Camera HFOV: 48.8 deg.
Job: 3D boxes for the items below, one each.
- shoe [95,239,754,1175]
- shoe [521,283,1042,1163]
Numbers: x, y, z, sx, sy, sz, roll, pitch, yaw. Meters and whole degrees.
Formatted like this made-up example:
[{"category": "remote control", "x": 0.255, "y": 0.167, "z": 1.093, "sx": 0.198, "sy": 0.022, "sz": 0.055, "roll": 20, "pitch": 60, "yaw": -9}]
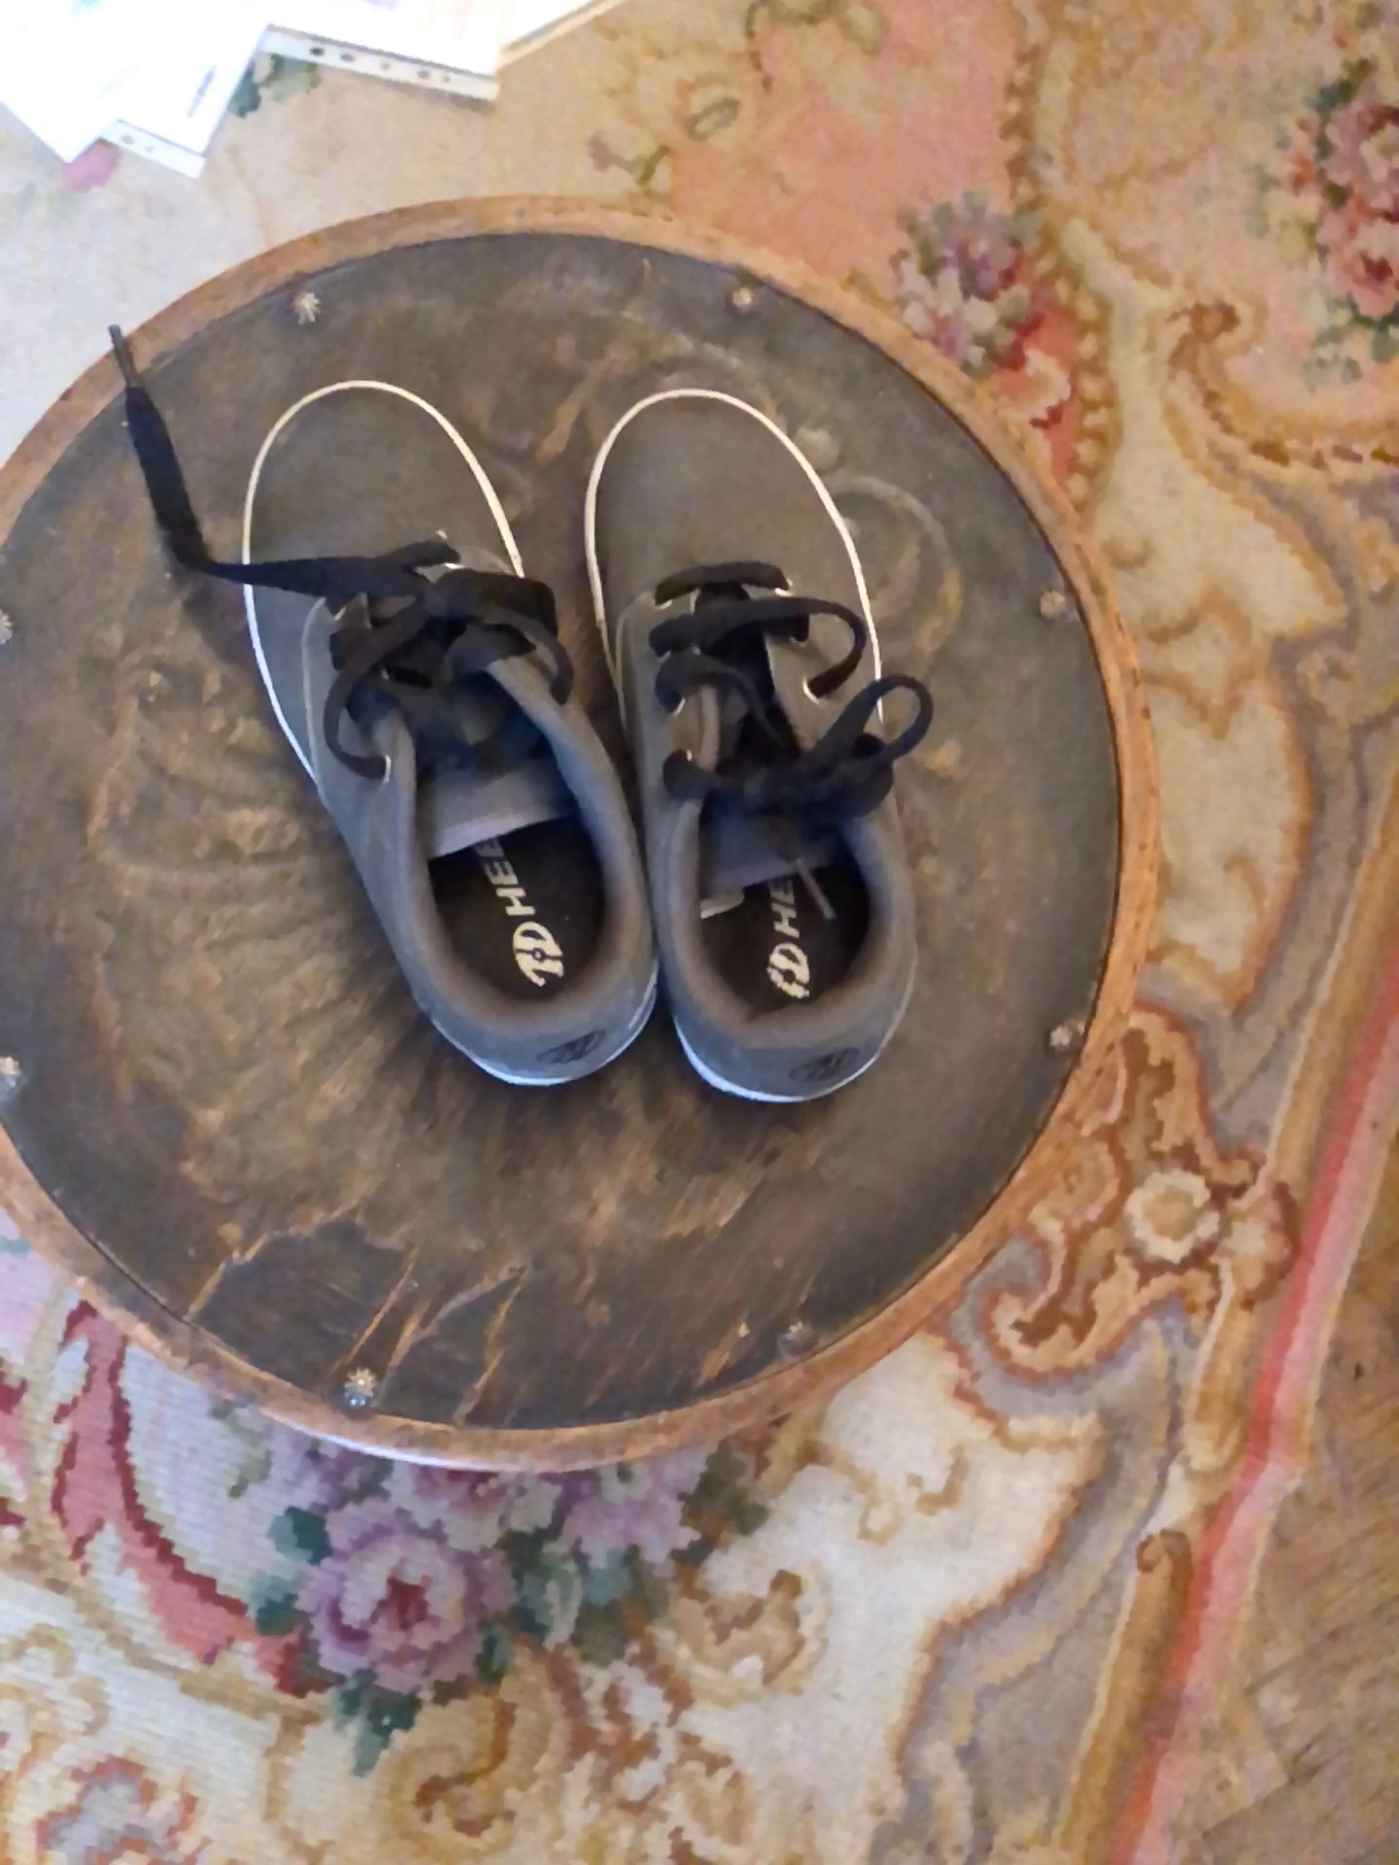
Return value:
[{"category": "shoe", "x": -0.071, "y": -0.053, "z": 0.421, "sx": 0.090, "sy": 0.100, "sz": 0.211, "roll": -20, "pitch": 87, "yaw": -7}, {"category": "shoe", "x": 0.015, "y": -0.052, "z": 0.436, "sx": 0.090, "sy": 0.100, "sz": 0.211, "roll": -11, "pitch": 86, "yaw": -6}]
